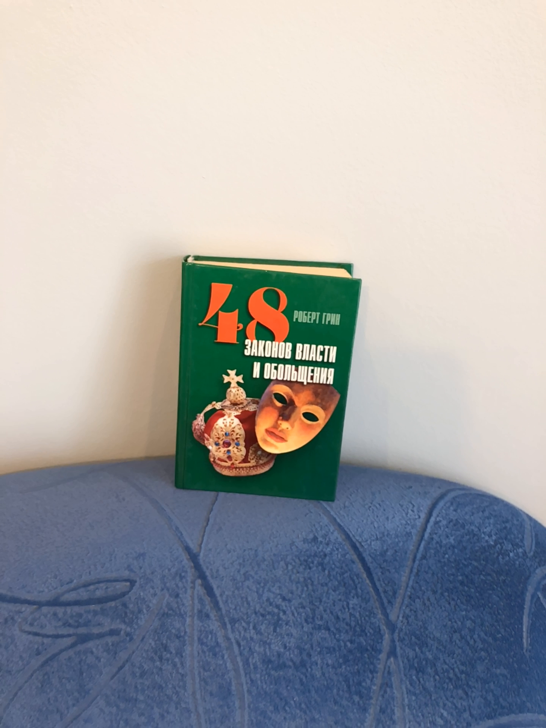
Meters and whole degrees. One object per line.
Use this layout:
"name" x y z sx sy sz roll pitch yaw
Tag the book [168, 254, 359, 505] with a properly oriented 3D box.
"book" -0.007 0.008 0.381 0.106 0.141 0.050 4 17 4
